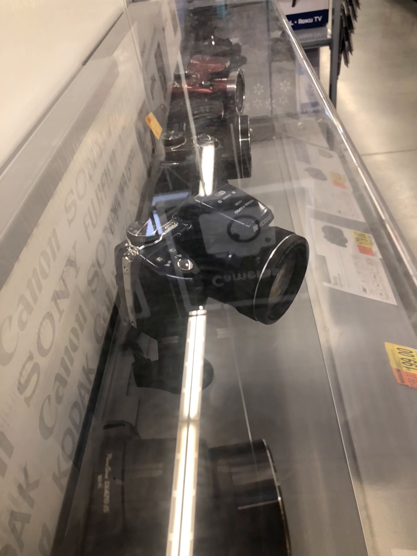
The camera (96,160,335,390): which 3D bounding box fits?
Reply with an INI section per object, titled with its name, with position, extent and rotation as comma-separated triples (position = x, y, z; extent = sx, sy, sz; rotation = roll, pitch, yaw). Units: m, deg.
[camera]
position = 0.011, -0.012, 0.342
extent = 0.110, 0.080, 0.130
rotation = 22, 48, 27
